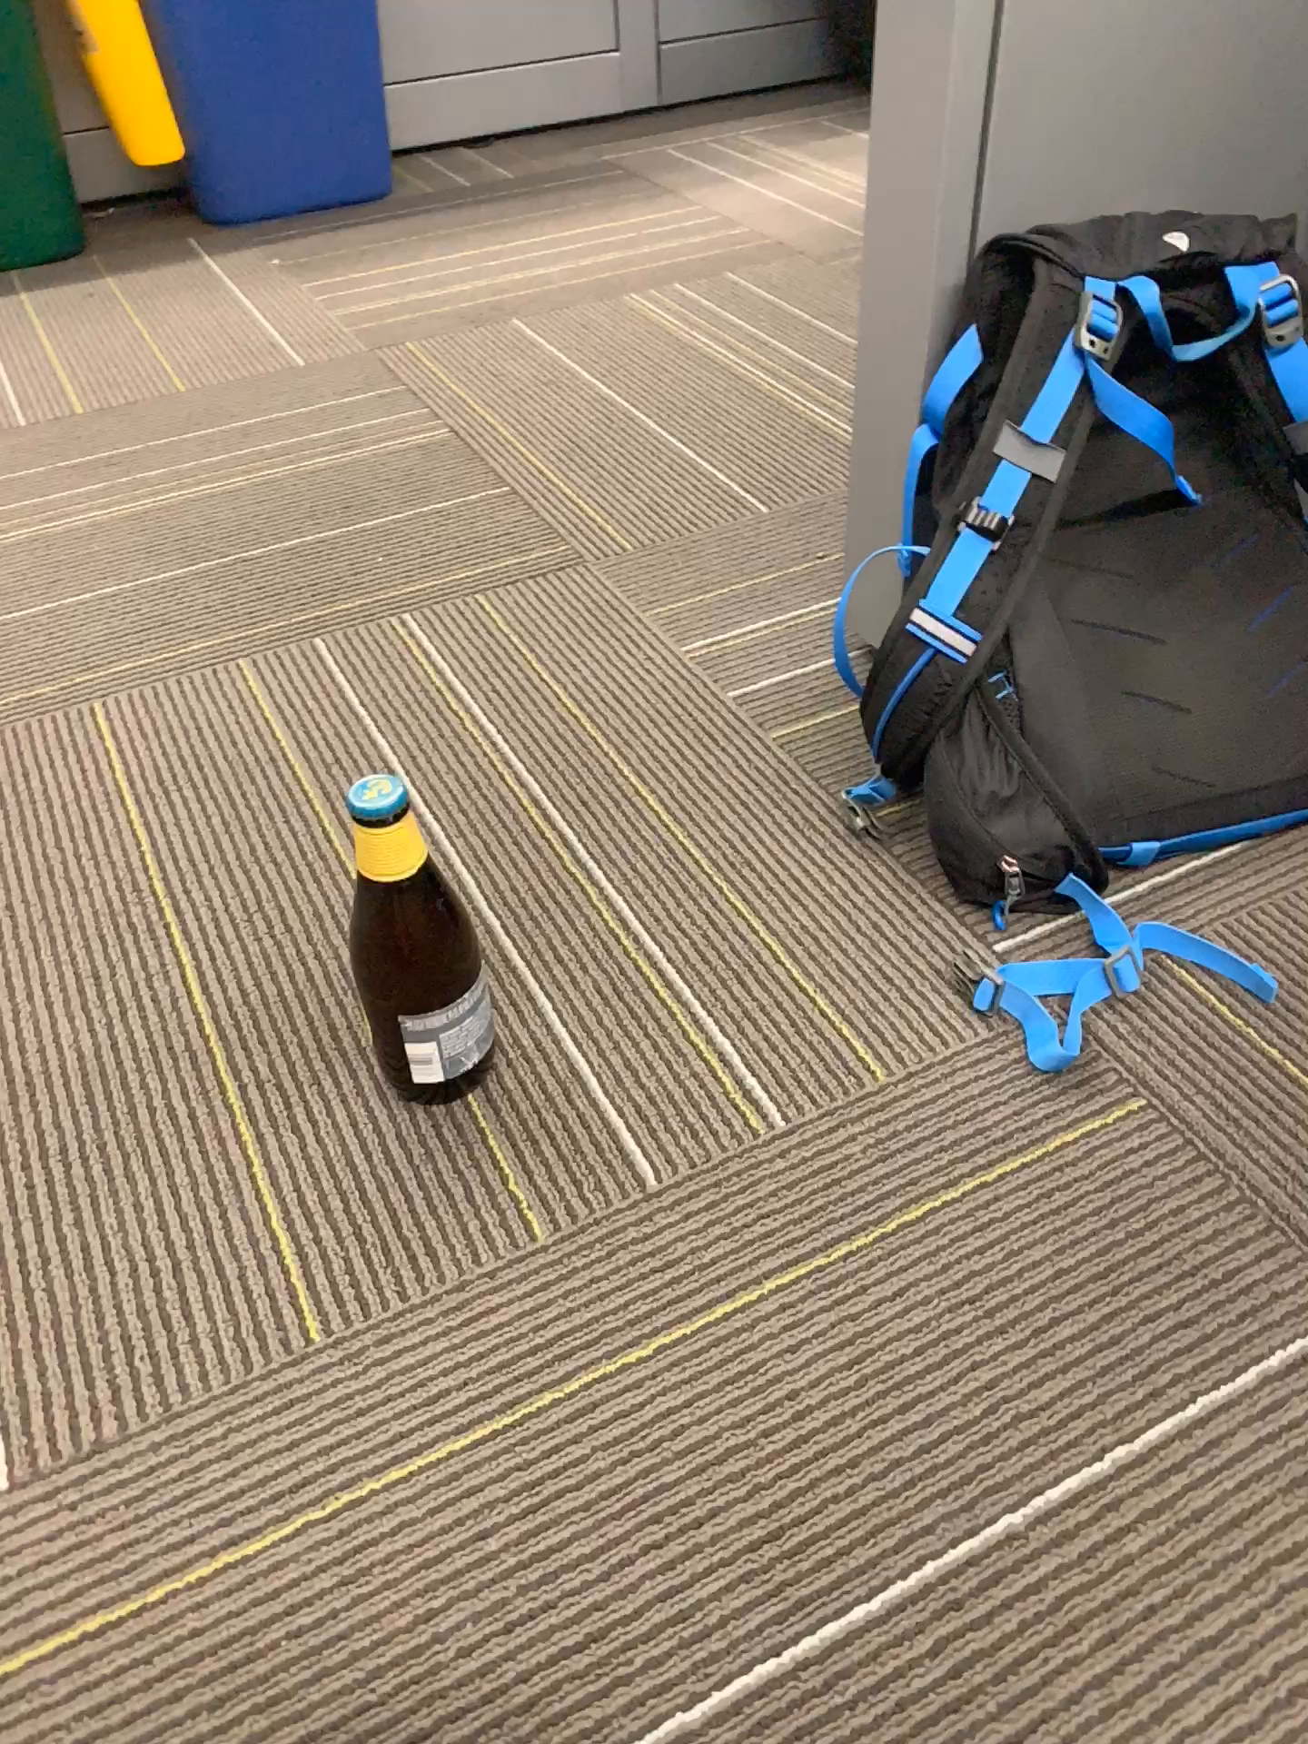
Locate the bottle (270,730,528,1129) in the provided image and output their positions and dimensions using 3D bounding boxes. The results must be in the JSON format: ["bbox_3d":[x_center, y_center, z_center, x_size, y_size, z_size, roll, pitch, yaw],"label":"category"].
[{"bbox_3d":[-0.121,0.032,0.666,0.070,0.179,0.070,-2,41,2],"label":"bottle"}]
